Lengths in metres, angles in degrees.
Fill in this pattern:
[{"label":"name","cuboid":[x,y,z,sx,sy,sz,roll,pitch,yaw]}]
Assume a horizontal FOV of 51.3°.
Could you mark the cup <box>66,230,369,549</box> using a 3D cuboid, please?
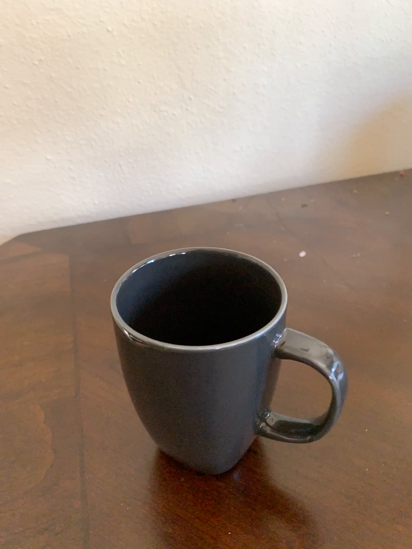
[{"label":"cup","cuboid":[0.012,0.048,0.215,0.107,0.096,0.089,11,36,24]}]
